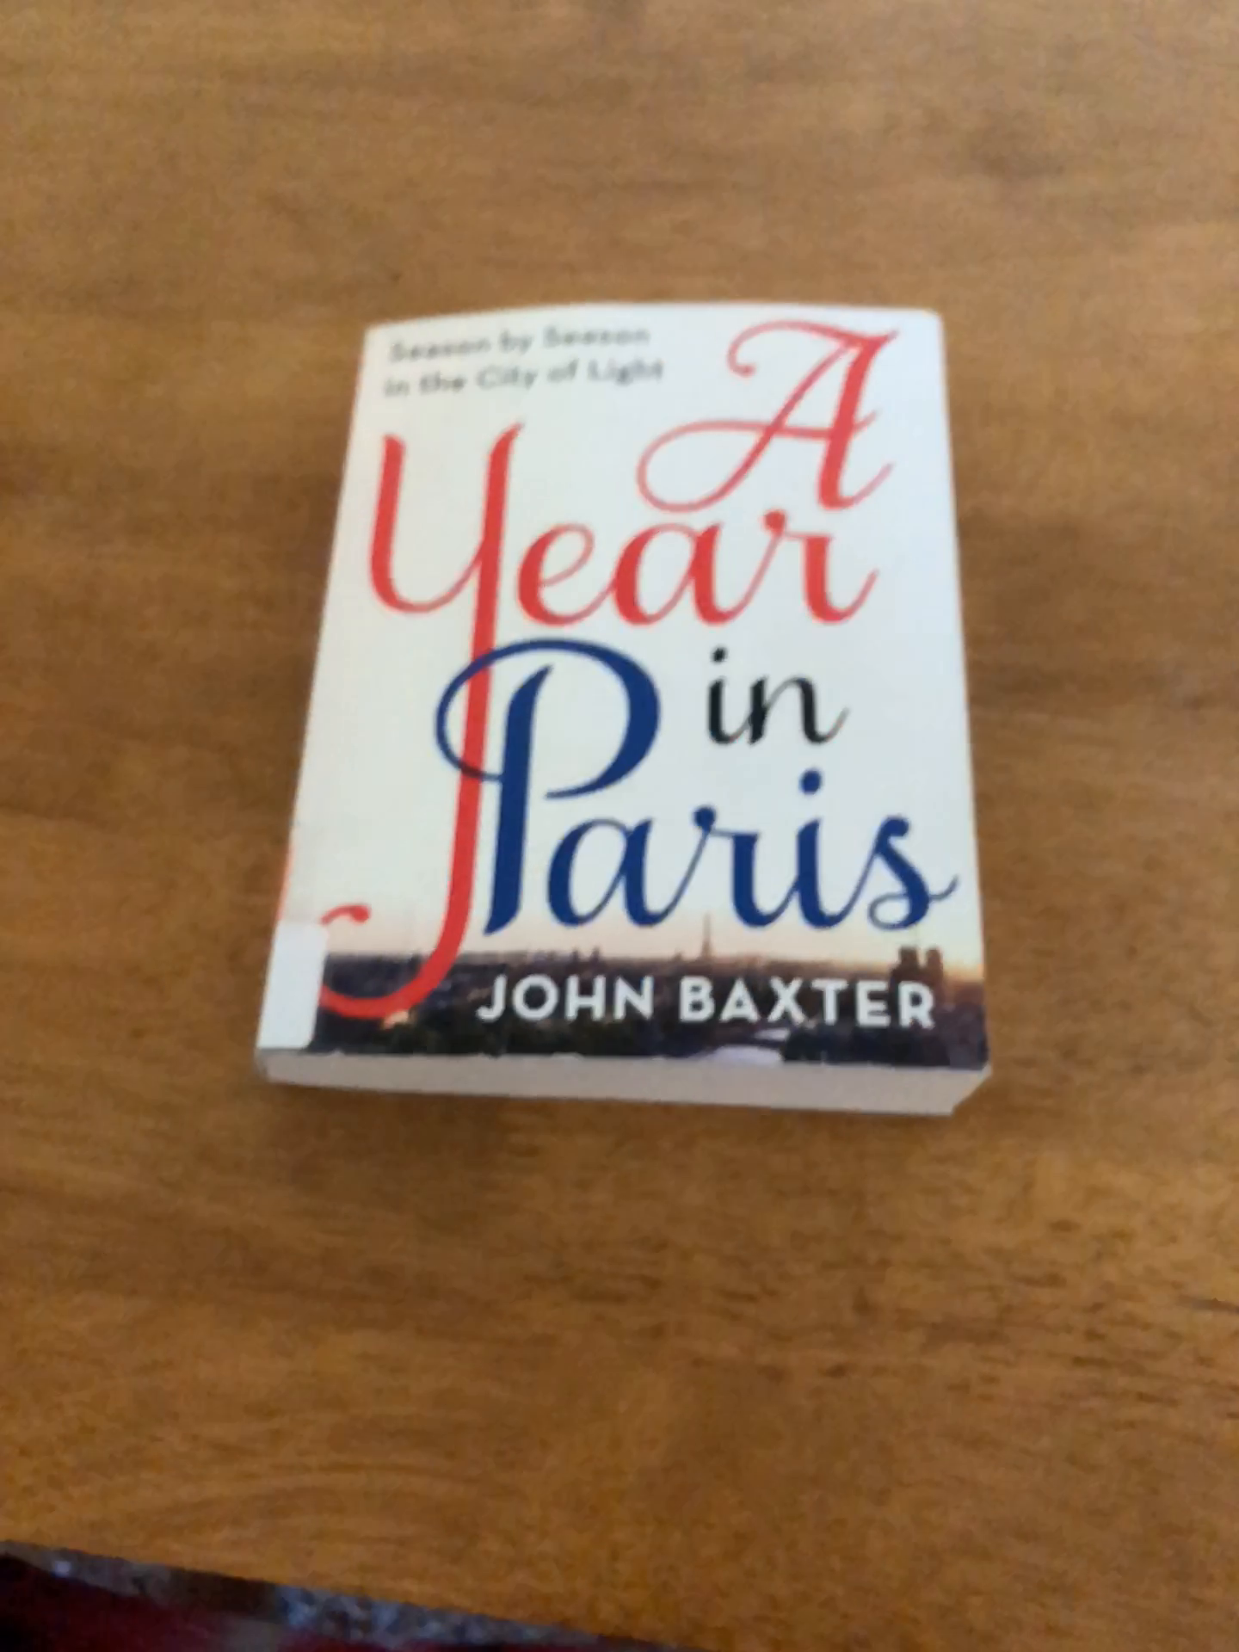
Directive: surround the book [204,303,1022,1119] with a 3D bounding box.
[{"bbox_3d":[0.003,-0.032,0.311,0.150,0.040,0.182,1,66,4],"label":"book"}]
